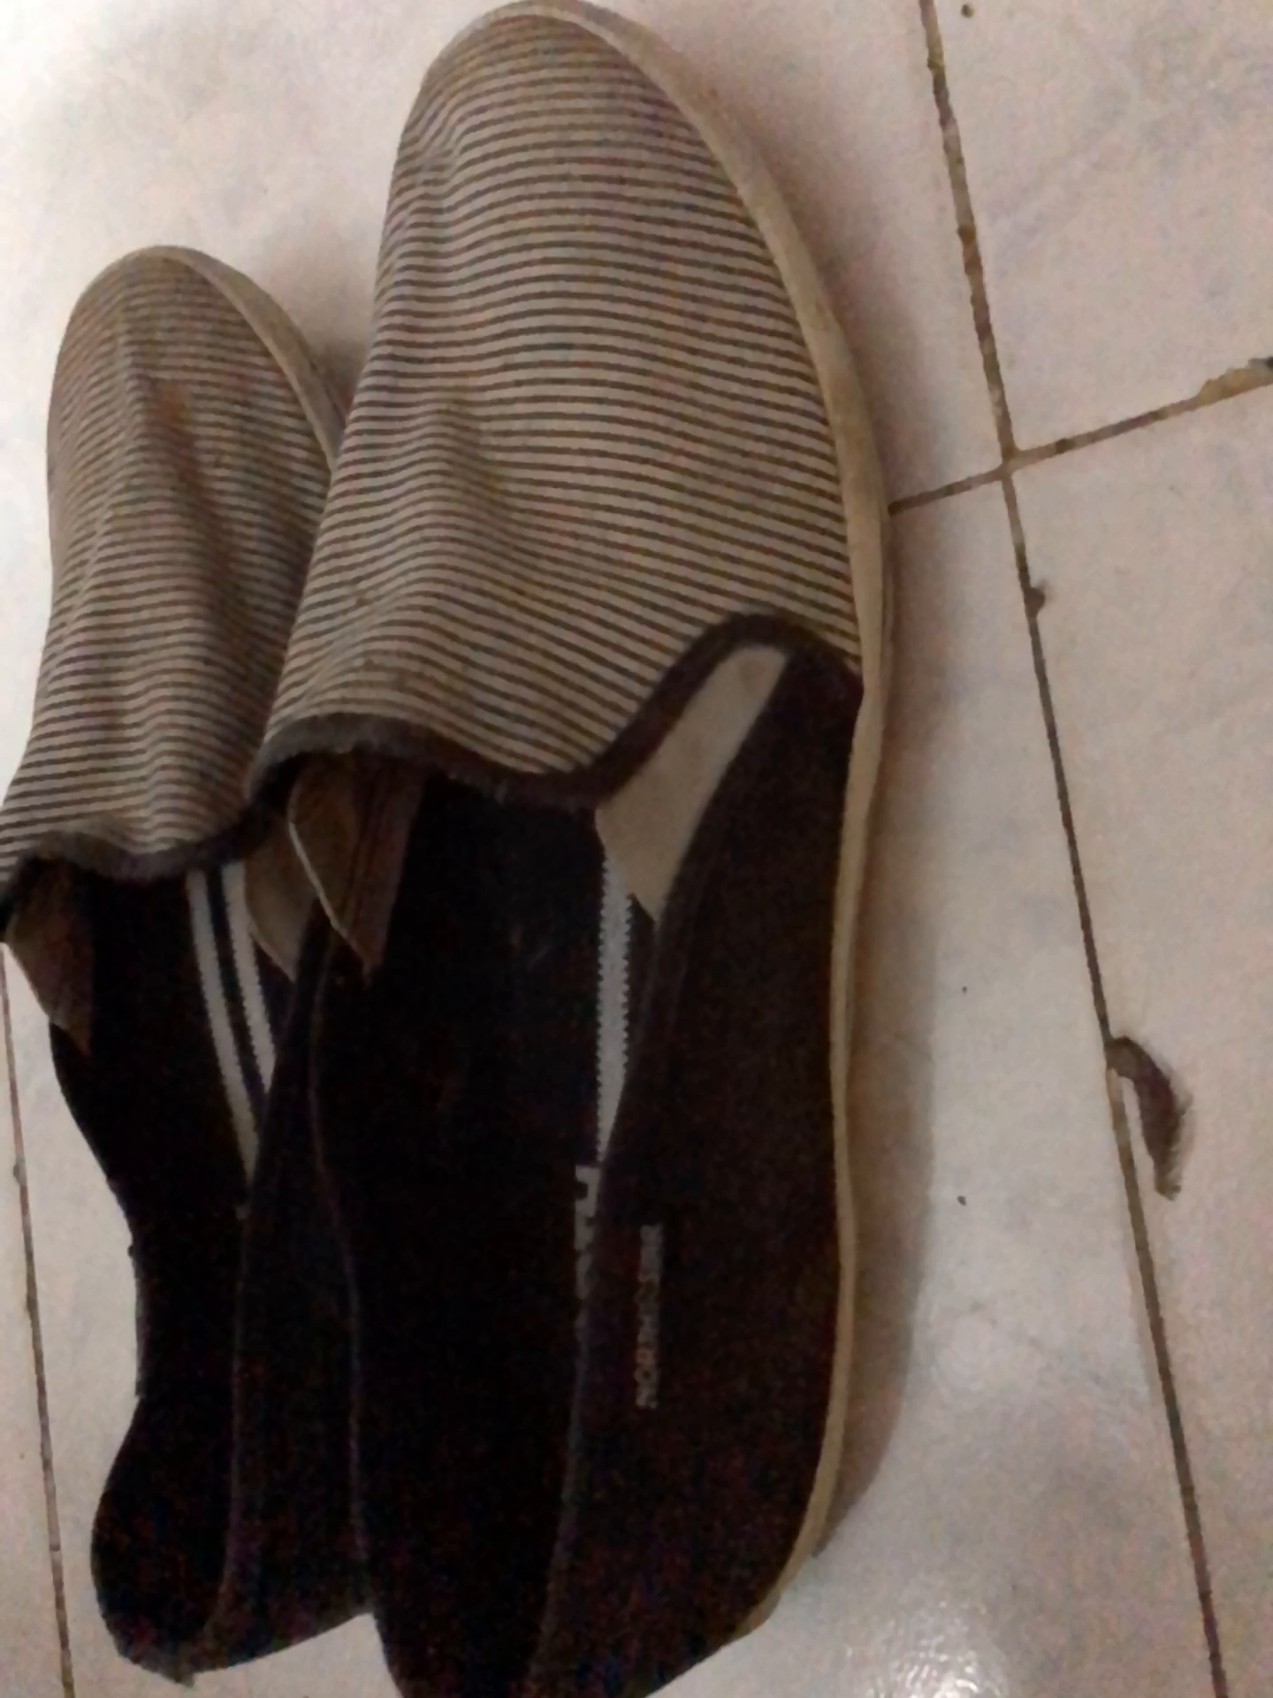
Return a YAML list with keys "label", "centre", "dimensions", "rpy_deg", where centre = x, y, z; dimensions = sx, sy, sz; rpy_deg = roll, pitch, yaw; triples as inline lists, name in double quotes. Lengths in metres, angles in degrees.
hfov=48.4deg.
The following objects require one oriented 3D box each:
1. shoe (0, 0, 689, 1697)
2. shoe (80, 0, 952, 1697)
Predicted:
- label: "shoe"
  centre: [-0.087, 0.000, 0.305]
  dimensions: [0.110, 0.090, 0.330]
  rpy_deg: [-15, 80, 32]
- label: "shoe"
  centre: [-0.023, -0.009, 0.254]
  dimensions: [0.110, 0.090, 0.340]
  rpy_deg: [-5, 86, 33]
